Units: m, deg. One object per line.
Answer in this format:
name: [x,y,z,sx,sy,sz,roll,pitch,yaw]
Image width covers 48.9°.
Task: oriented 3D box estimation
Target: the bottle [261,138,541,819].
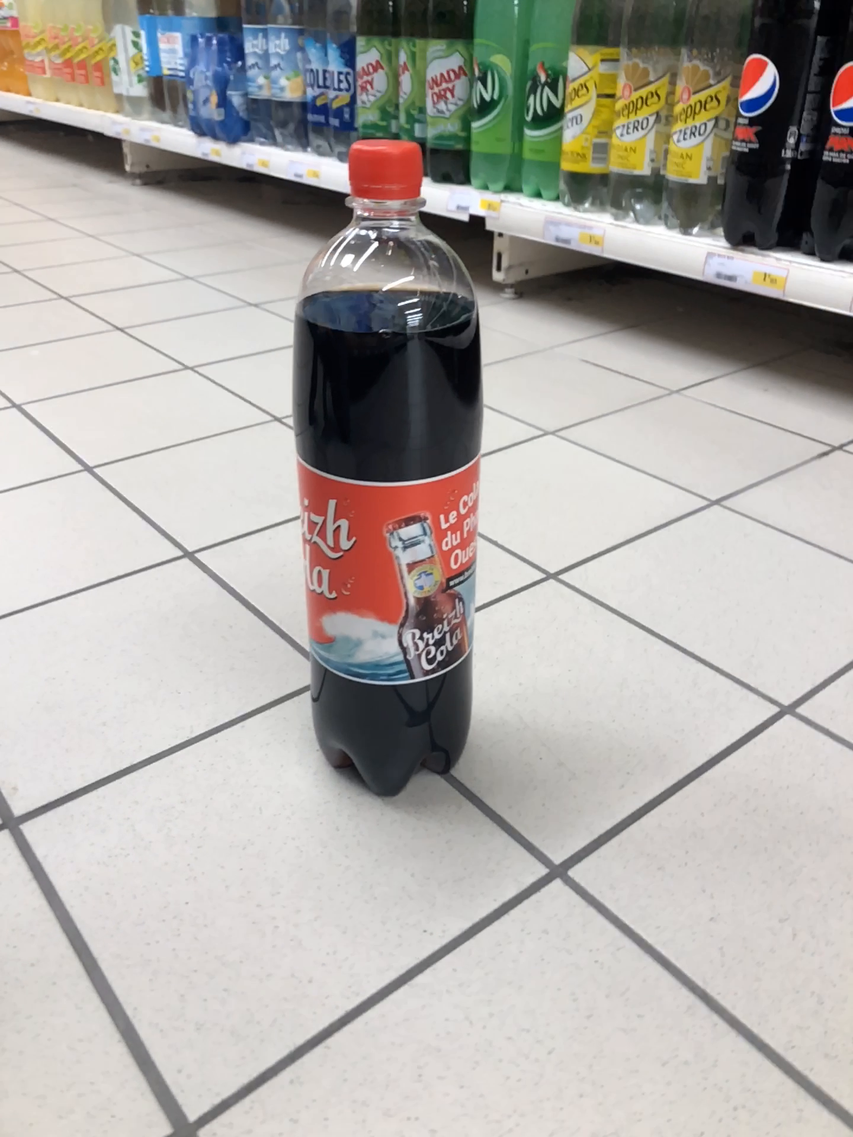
bottle: [-0.018,-0.035,0.455,0.100,0.308,0.101,1,29,0]
